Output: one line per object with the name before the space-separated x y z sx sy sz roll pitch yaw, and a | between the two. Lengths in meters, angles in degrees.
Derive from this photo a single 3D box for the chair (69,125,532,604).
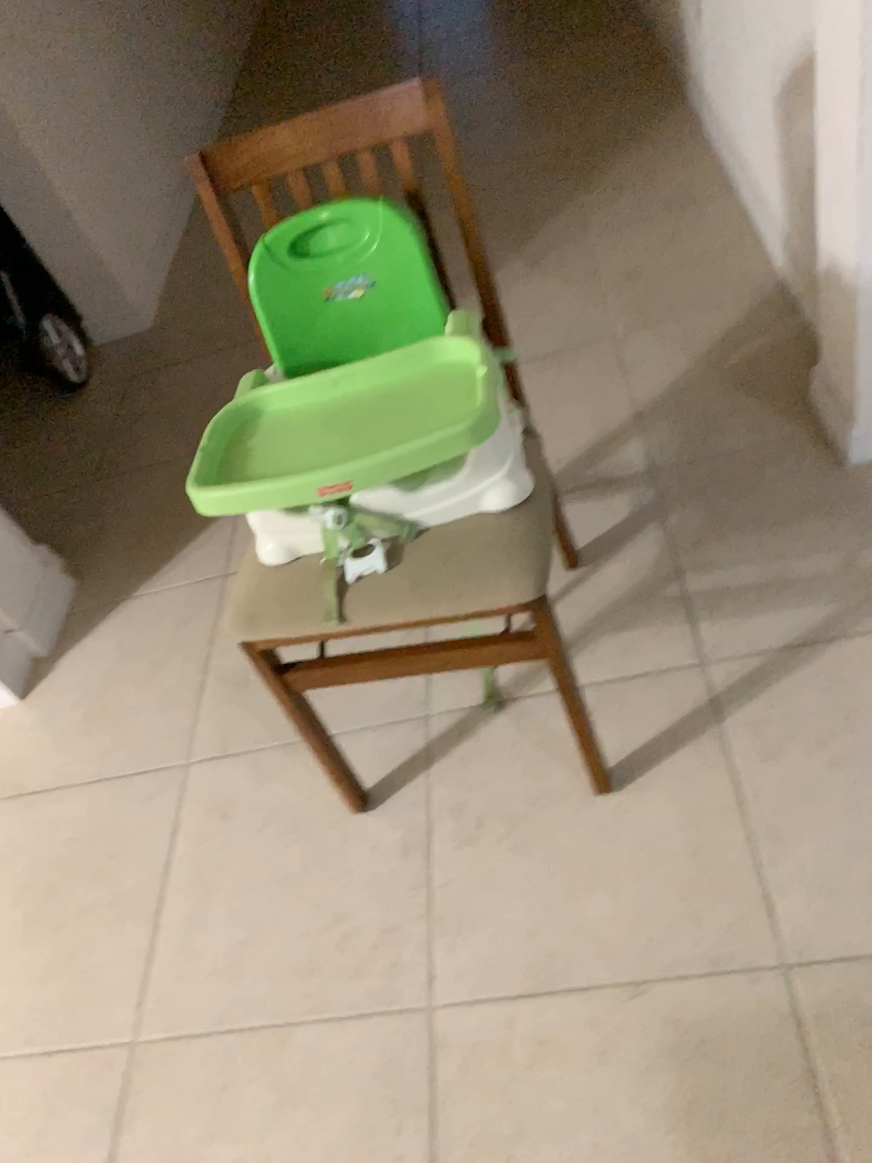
chair | -0.127 -0.259 1.099 0.404 0.328 0.387 -11 47 14

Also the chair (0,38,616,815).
chair | -0.059 -0.137 1.277 0.455 0.882 0.559 -9 47 17
